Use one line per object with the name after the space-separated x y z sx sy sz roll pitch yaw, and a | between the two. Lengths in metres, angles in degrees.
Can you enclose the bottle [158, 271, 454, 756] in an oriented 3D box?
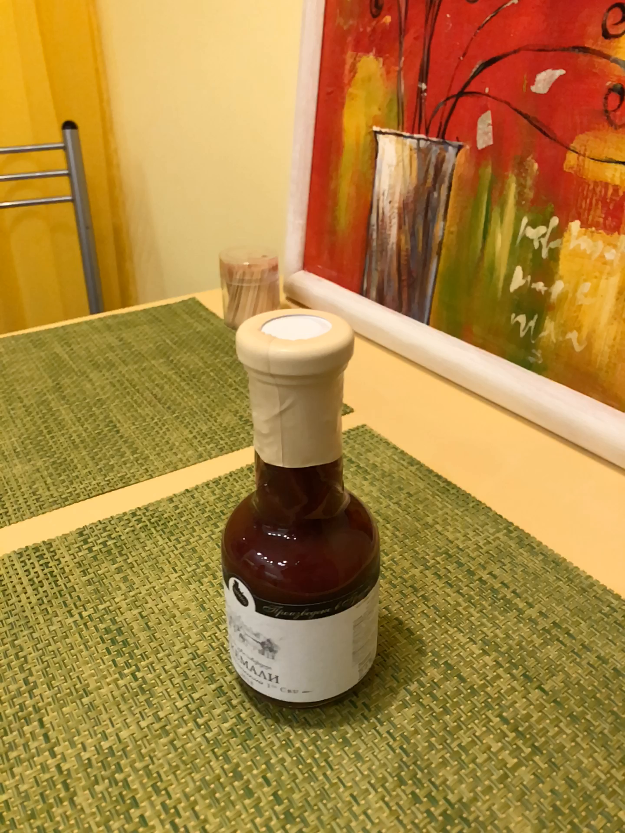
-0.003 0.036 0.270 0.070 0.159 0.070 0 29 0 | bottle
